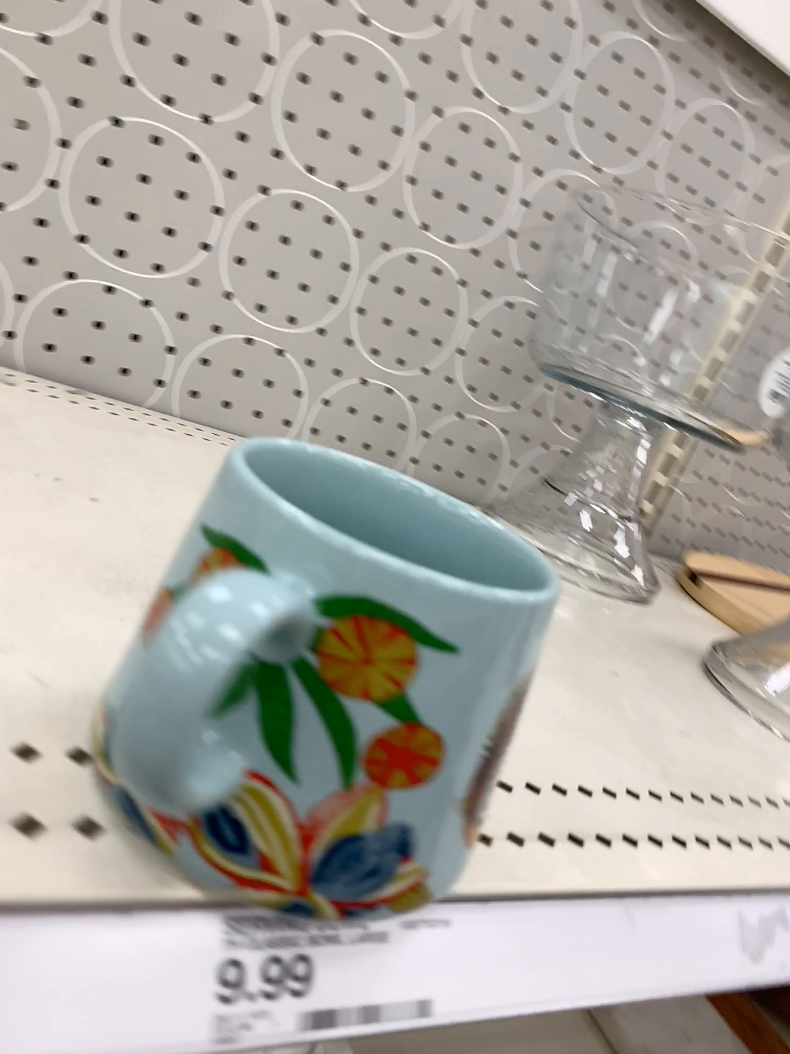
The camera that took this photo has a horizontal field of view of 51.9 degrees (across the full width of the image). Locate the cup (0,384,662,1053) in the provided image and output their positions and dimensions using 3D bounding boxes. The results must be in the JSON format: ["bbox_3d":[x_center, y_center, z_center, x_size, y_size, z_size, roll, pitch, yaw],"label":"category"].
[{"bbox_3d":[-0.021,0.036,0.199,0.120,0.090,0.140,29,16,20],"label":"cup"}]
